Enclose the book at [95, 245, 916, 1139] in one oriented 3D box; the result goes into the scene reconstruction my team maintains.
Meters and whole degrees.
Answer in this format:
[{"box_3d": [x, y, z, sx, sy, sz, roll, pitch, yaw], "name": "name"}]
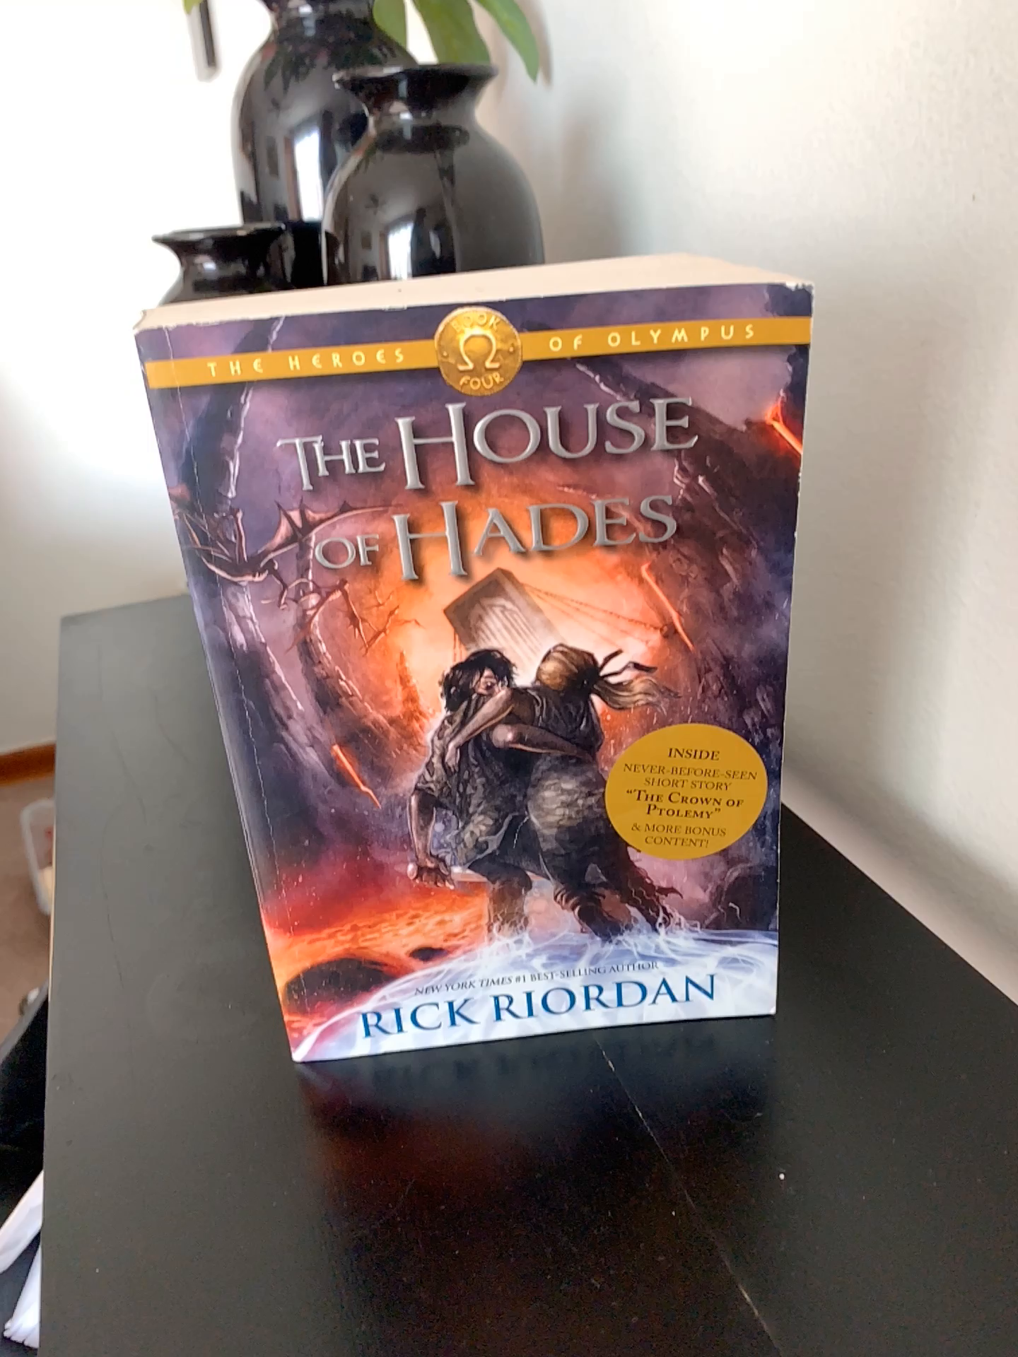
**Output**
[{"box_3d": [0.001, -0.002, 0.252, 0.144, 0.176, 0.078, -9, 25, -11], "name": "book"}]
